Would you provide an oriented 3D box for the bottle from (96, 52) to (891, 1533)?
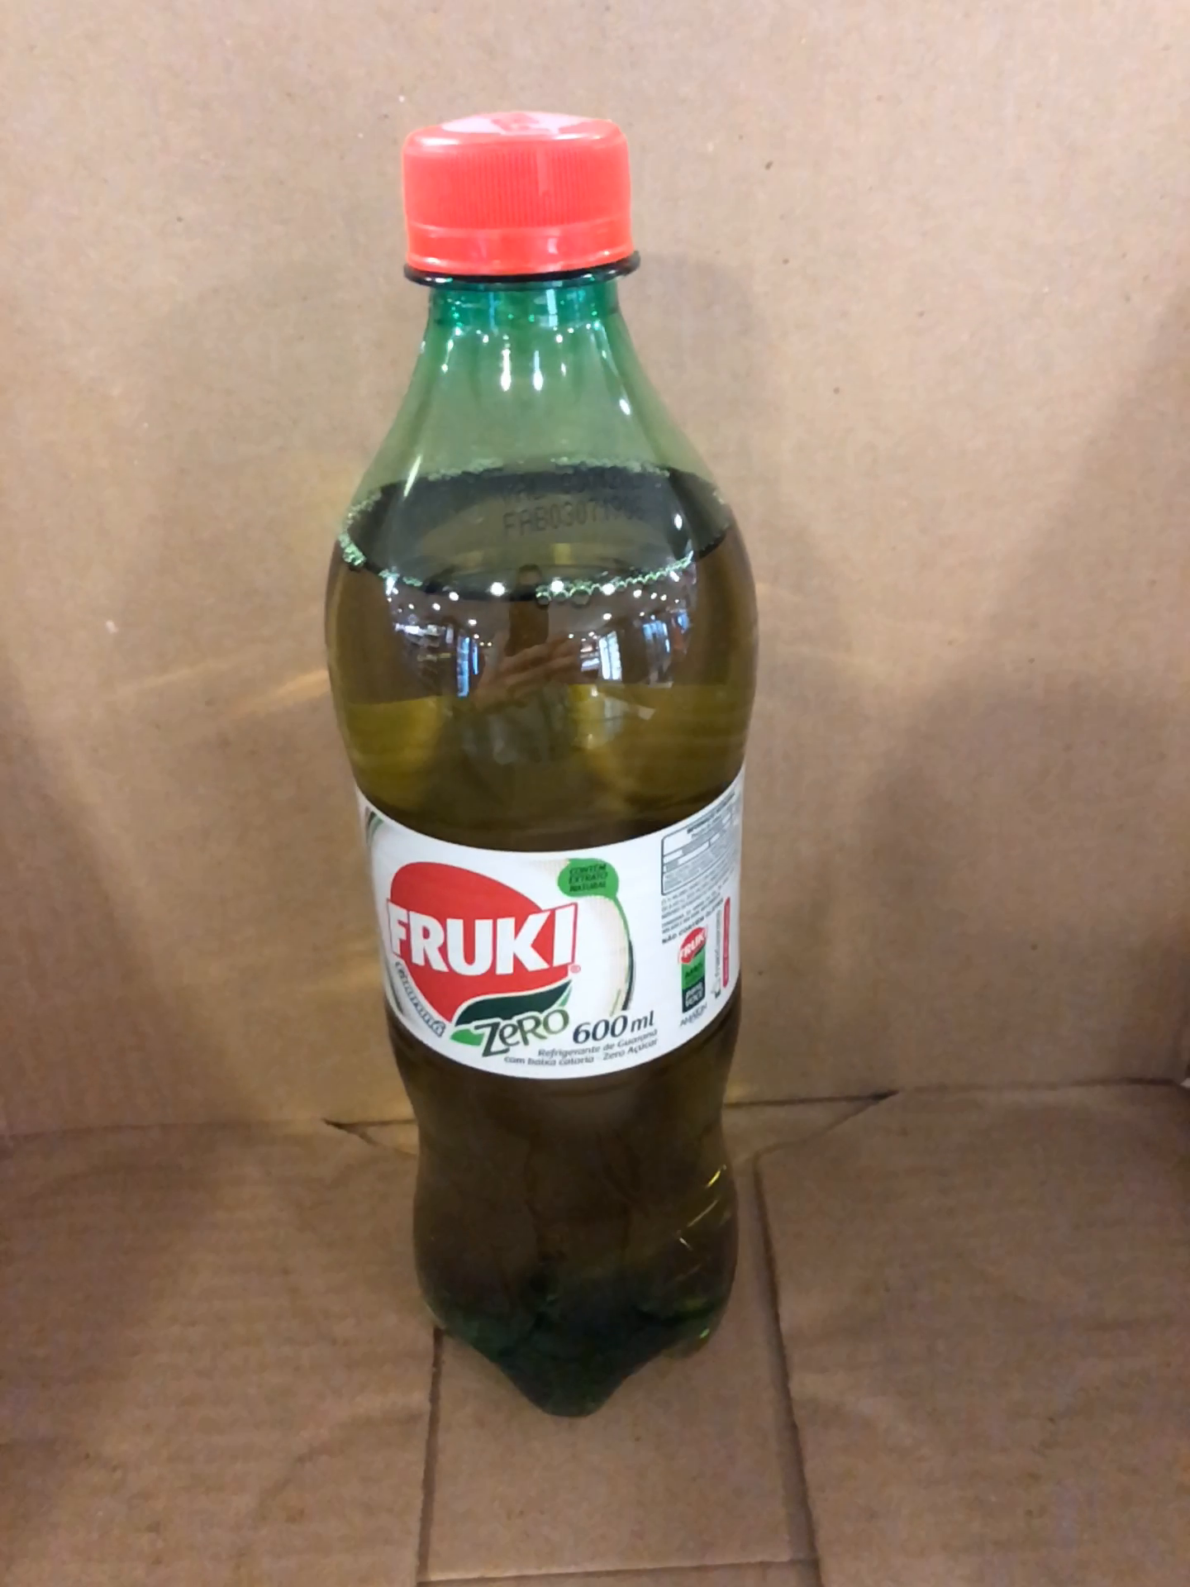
[{"bbox_3d":[-0.002,0.011,0.229,0.080,0.238,0.081,-2,31,1],"label":"bottle"}]
